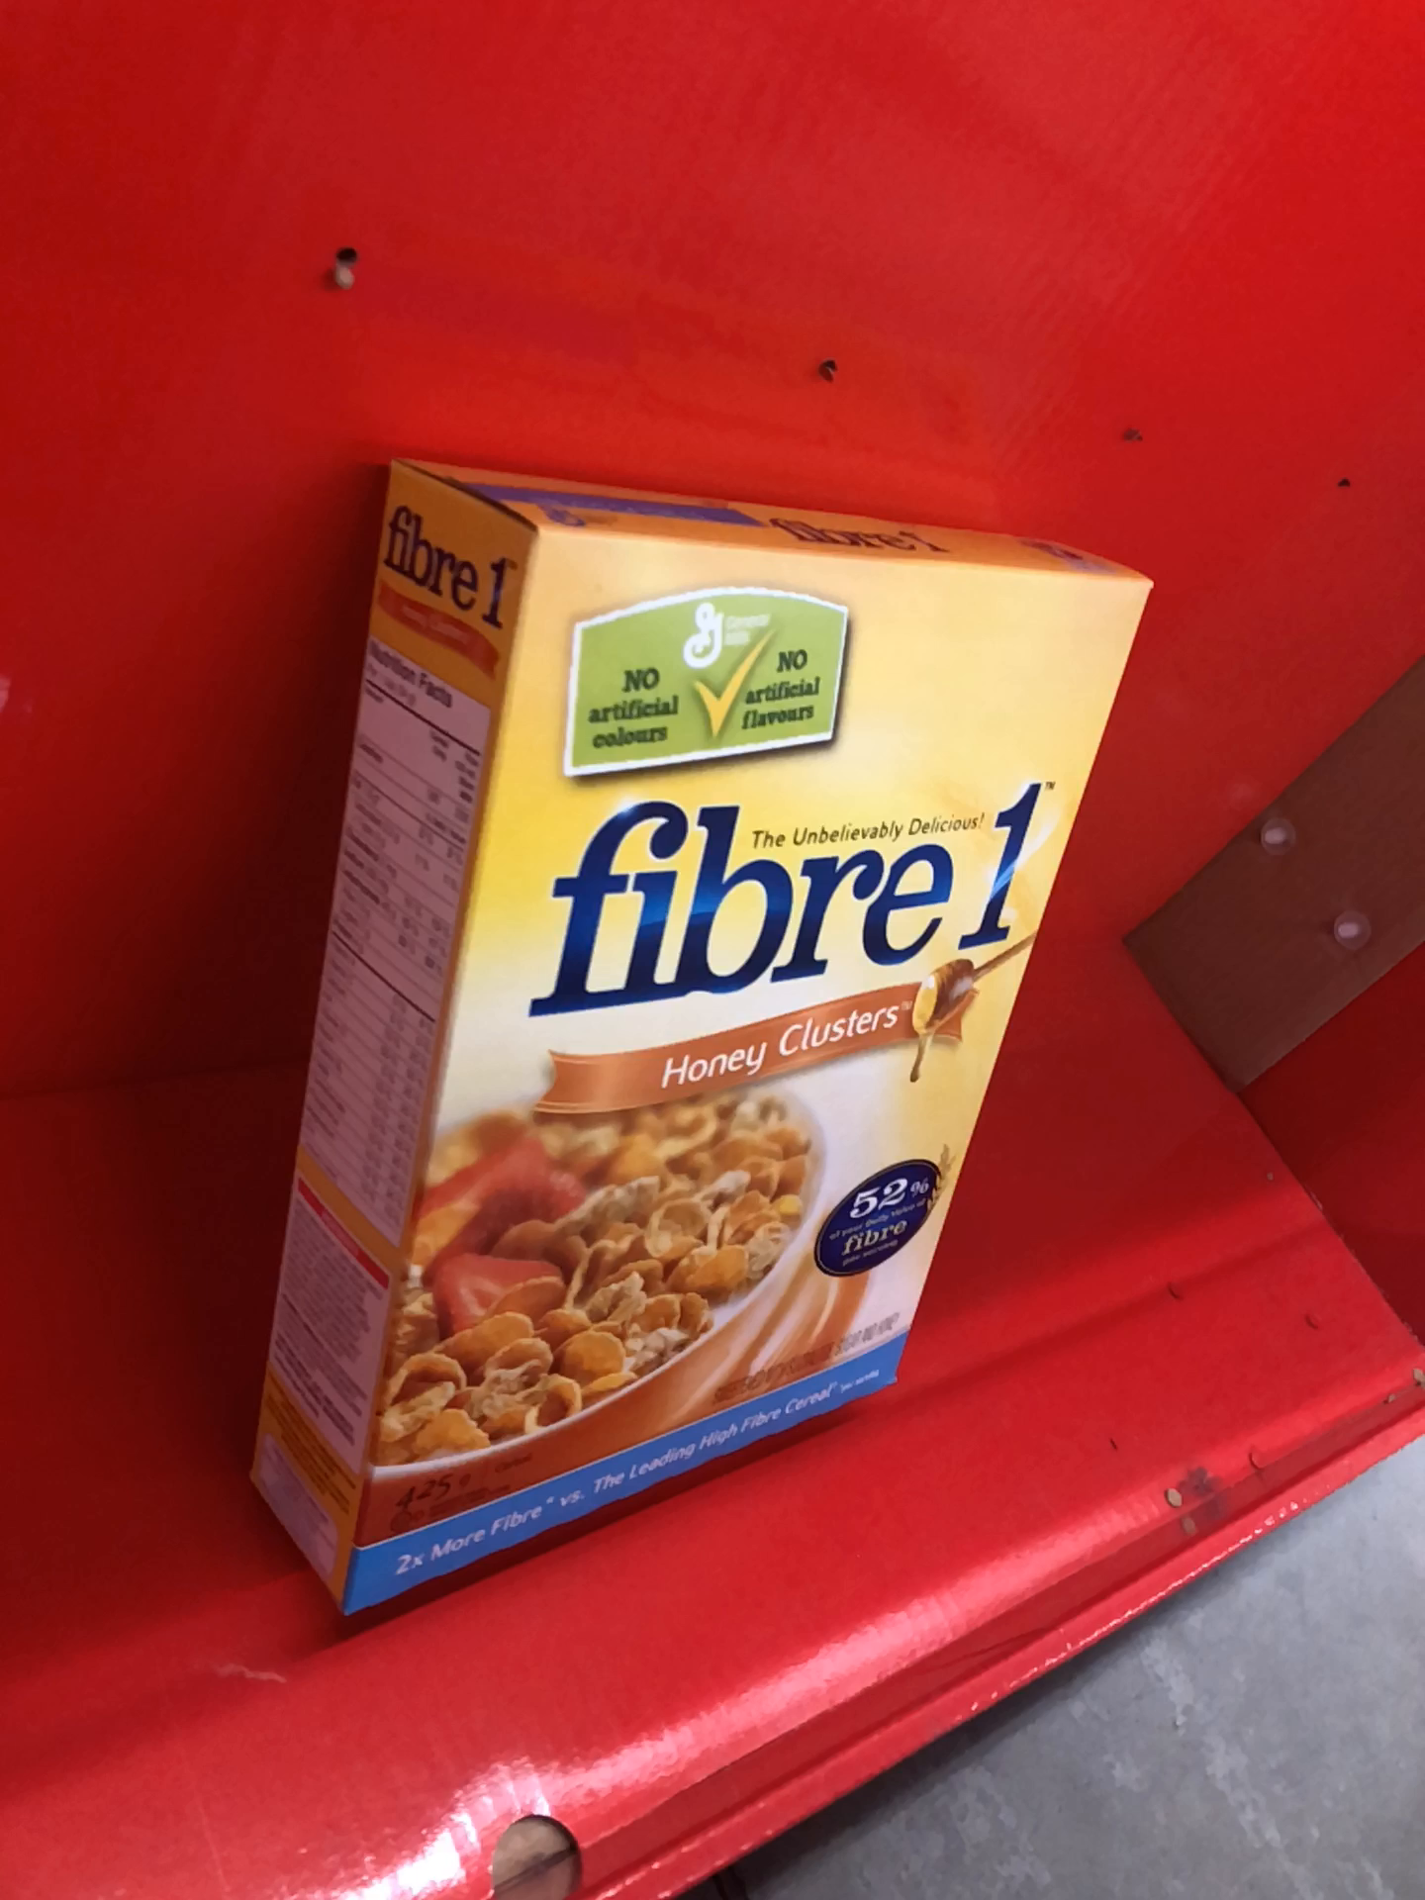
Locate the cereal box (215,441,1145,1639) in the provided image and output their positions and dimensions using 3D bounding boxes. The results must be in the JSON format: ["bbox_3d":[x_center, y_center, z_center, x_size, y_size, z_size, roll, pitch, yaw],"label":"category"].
[{"bbox_3d":[-0.008,0.020,0.417,0.211,0.269,0.060,-8,29,-41],"label":"cereal box"}]
